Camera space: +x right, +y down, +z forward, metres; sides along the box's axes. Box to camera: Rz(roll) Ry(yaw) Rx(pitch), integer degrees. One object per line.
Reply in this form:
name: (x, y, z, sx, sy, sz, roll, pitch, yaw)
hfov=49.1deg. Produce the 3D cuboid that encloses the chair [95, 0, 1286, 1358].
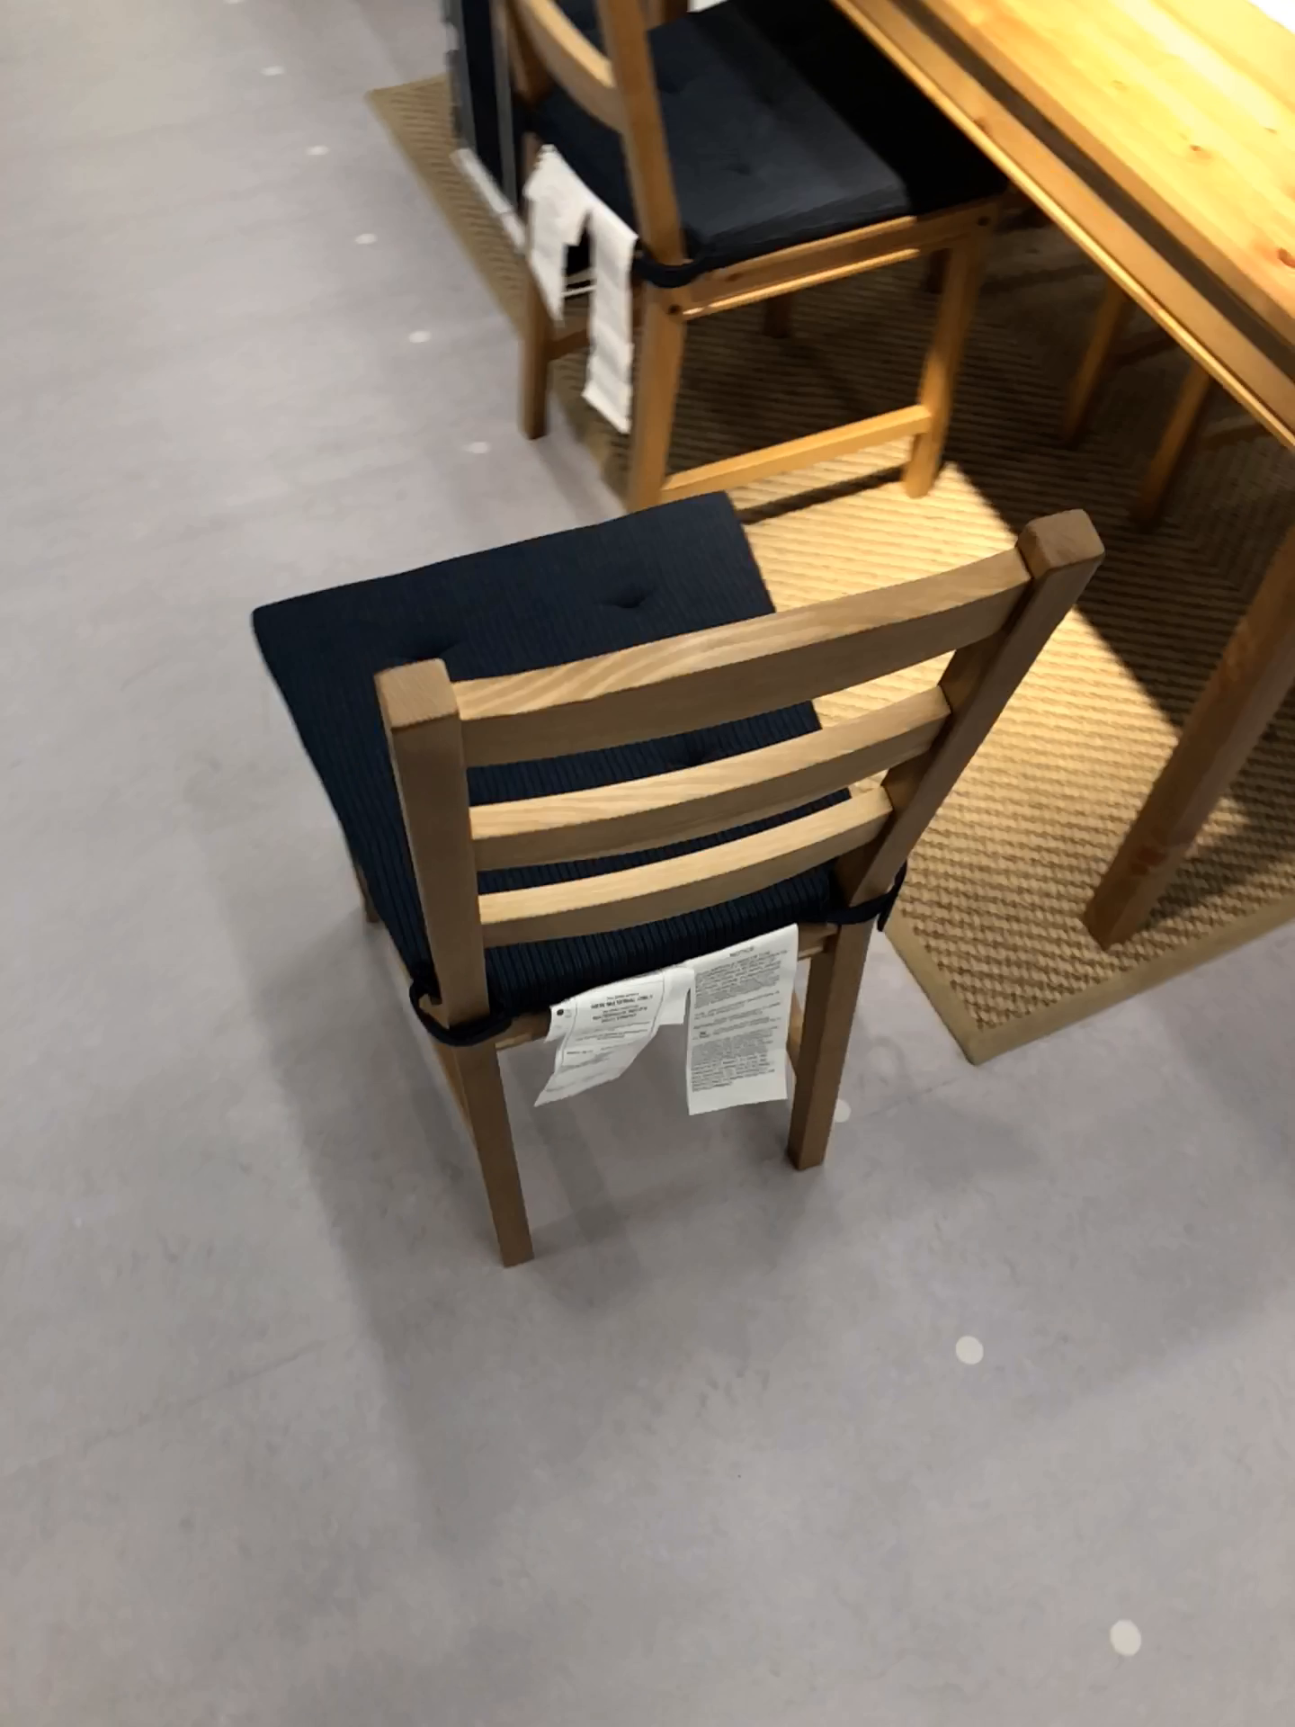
chair: (-0.024, -0.061, 1.084, 0.440, 0.866, 0.522, -18, 60, -13)
